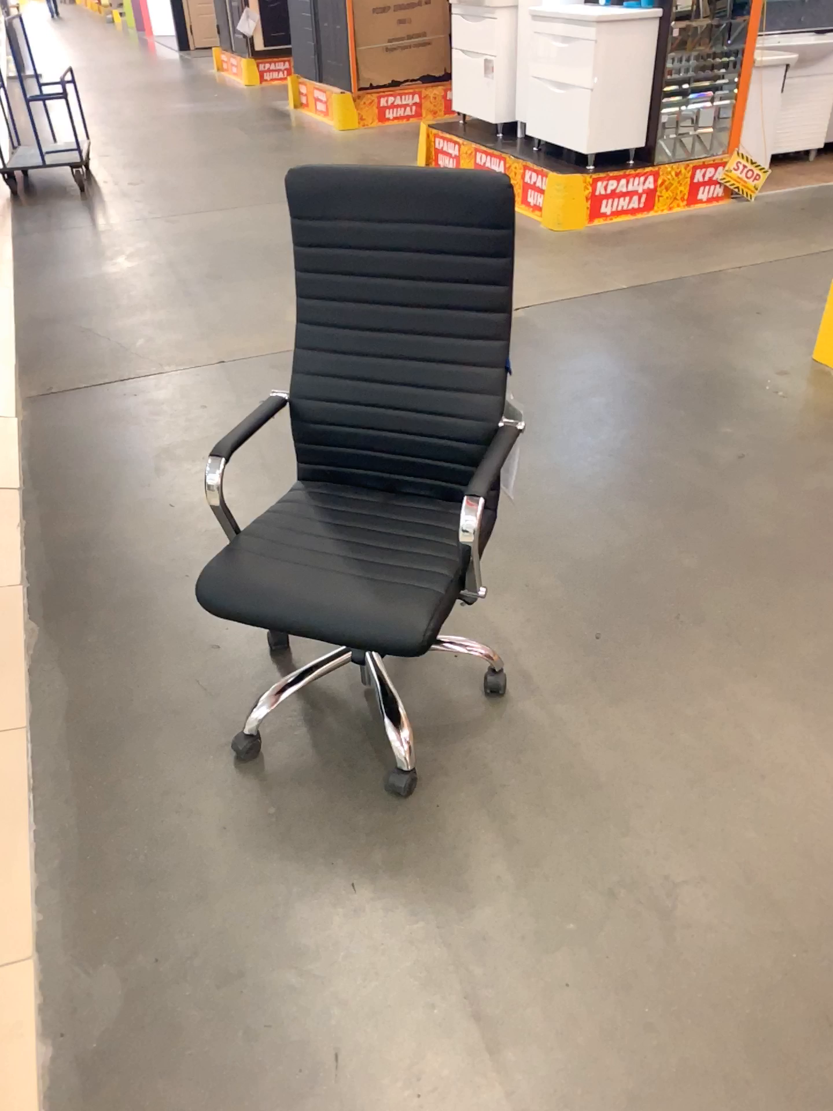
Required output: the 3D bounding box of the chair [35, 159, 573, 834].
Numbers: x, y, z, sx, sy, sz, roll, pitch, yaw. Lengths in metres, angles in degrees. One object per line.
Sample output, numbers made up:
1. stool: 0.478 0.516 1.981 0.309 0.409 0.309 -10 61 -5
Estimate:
1. chair: -0.112 -0.140 1.699 0.651 1.074 0.683 10 37 18
